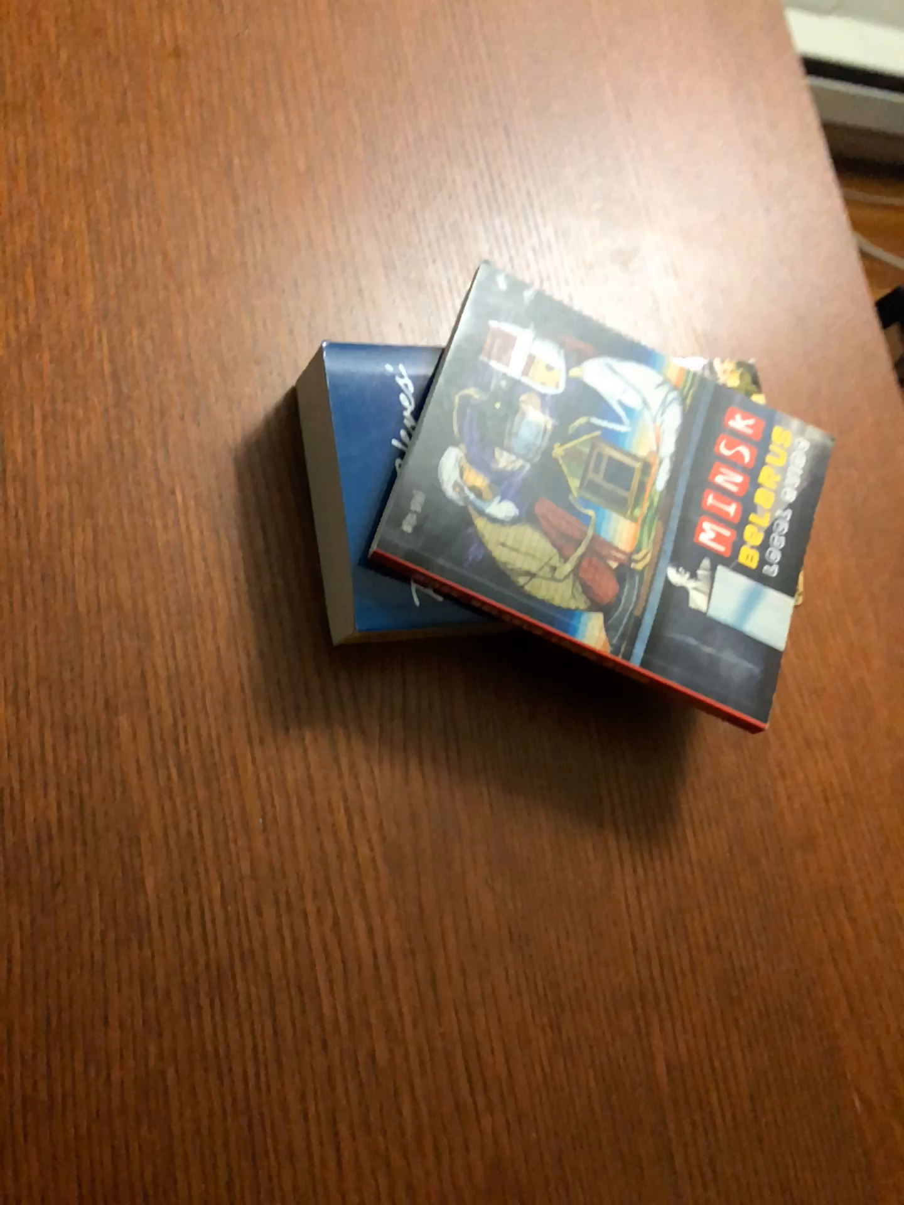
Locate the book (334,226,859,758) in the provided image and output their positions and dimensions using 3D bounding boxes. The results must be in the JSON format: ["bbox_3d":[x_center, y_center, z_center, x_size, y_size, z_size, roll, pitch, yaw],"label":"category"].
[{"bbox_3d":[0.067,-0.043,0.391,0.190,0.020,0.150,22,67,-13],"label":"book"}]

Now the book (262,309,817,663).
[{"bbox_3d":[0.039,-0.051,0.427,0.220,0.040,0.130,-4,75,-22],"label":"book"}]
